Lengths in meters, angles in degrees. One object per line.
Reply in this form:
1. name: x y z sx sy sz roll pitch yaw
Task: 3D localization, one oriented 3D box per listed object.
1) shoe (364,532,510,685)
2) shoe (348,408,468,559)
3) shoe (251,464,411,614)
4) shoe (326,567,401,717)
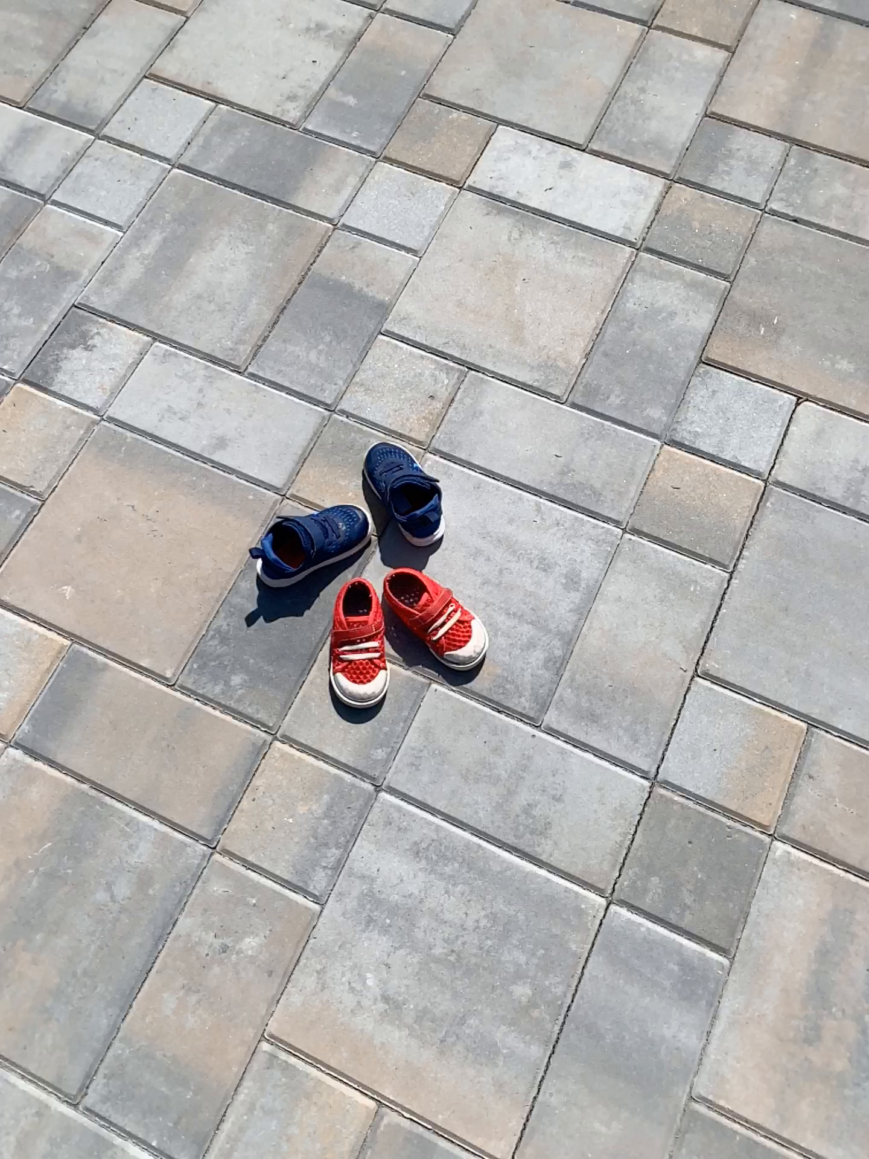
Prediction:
1. shoe: 0.002 0.036 1.104 0.080 0.070 0.170 -43 74 -14
2. shoe: -0.035 -0.128 1.174 0.080 0.070 0.170 -29 72 -10
3. shoe: -0.133 -0.053 1.171 0.180 0.090 0.090 -33 72 -11
4. shoe: -0.090 0.079 1.117 0.080 0.070 0.170 -5 69 -1
